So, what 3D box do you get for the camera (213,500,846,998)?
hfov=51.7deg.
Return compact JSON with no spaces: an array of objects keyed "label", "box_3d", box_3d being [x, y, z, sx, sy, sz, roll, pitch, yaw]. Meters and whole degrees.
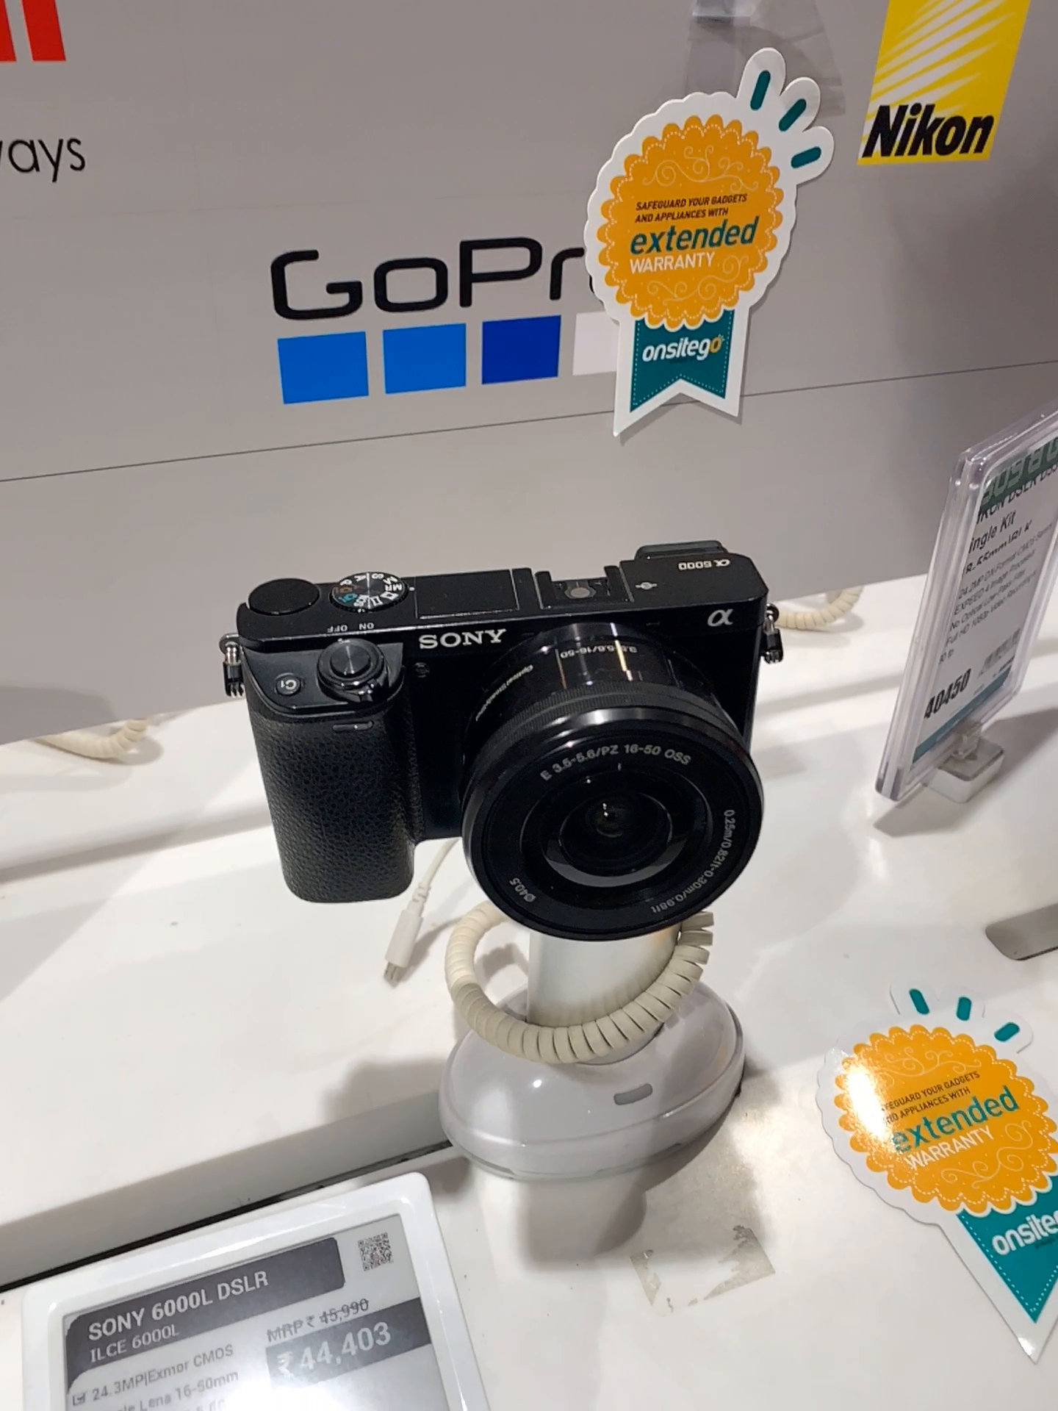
[{"label":"camera","box_3d":[-0.003,0.009,0.249,0.120,0.090,0.050,-5,35,-10]}]
